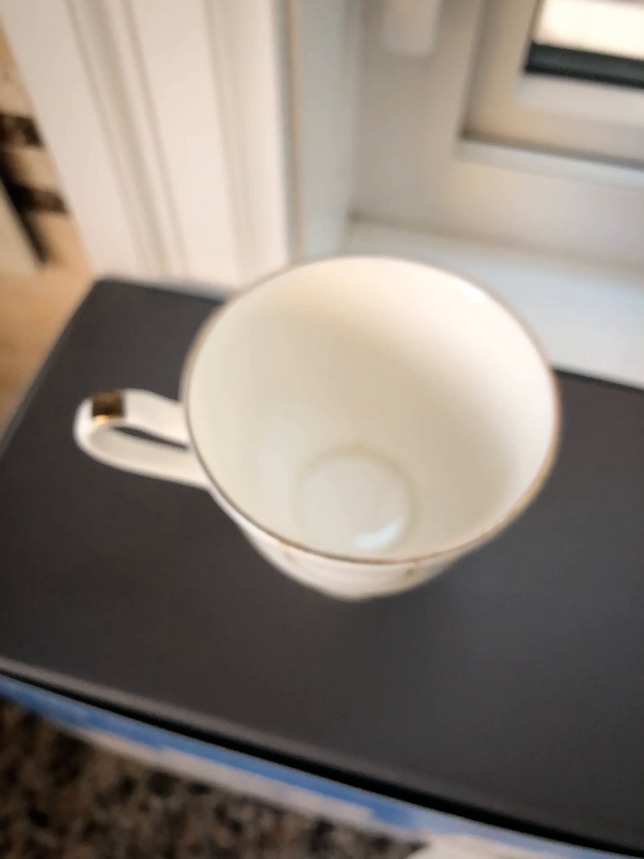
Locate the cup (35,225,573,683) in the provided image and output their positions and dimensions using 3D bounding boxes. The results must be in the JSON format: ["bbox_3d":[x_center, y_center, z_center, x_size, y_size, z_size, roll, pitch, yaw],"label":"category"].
[{"bbox_3d":[0.001,0.008,0.190,0.100,0.066,0.076,10,62,5],"label":"cup"}]
